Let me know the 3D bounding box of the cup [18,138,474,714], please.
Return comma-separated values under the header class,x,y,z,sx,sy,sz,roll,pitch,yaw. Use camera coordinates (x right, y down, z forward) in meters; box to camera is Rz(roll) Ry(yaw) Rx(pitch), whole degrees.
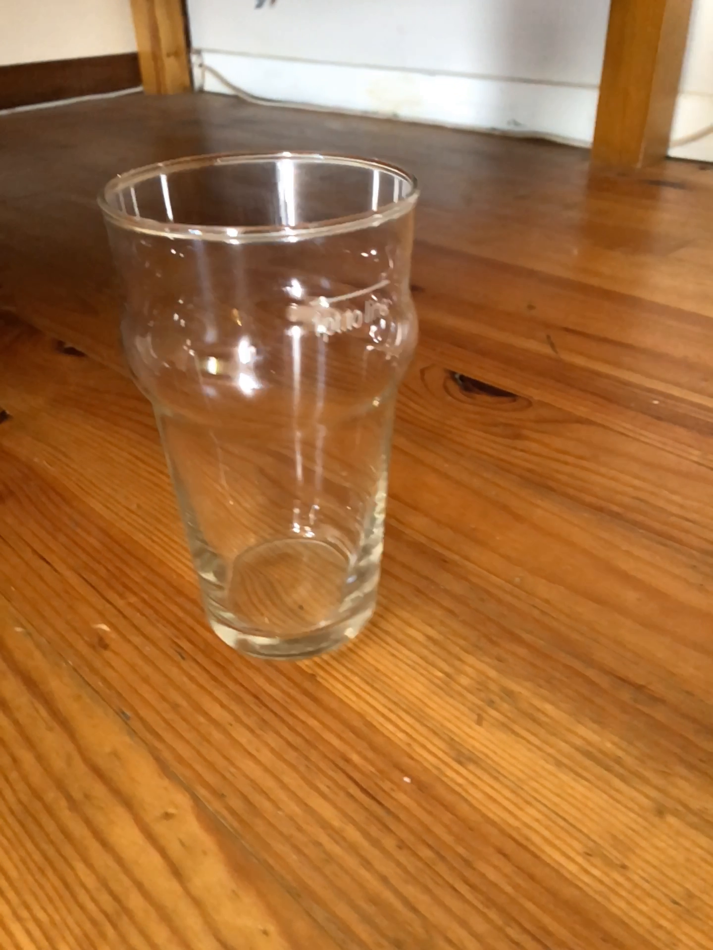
class,x,y,z,sx,sy,sz,roll,pitch,yaw
cup,-0.031,-0.021,0.272,0.091,0.151,0.095,2,34,-1
